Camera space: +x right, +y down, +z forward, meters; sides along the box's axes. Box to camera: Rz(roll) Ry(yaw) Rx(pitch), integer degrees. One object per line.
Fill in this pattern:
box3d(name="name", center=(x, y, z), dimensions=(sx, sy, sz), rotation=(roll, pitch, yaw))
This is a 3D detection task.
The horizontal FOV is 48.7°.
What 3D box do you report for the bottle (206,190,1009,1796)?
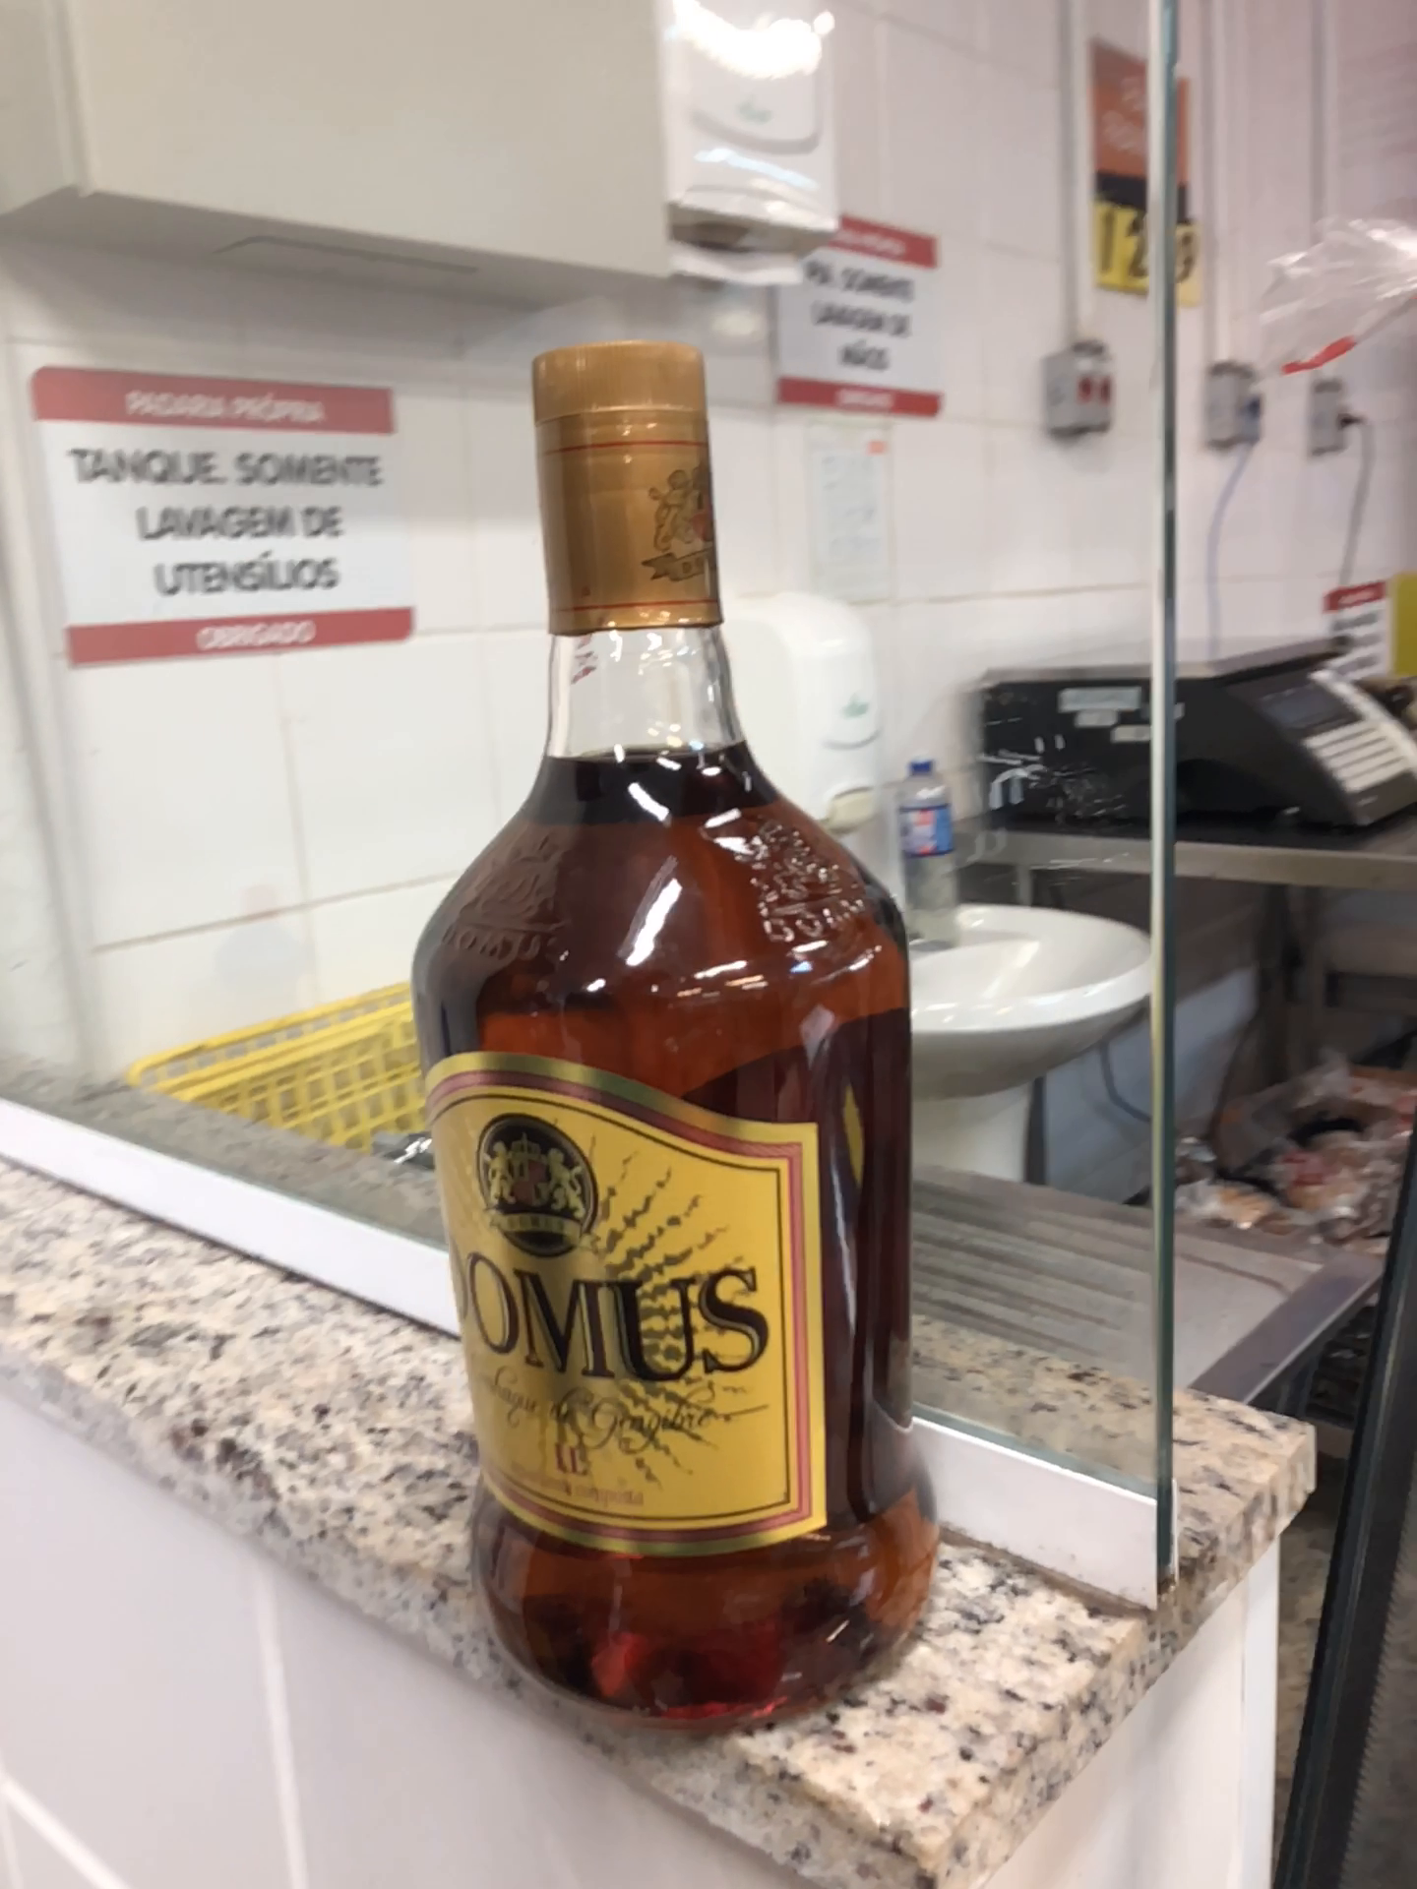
box3d(name="bottle", center=(-0.008, 0.007, 0.317), dimensions=(0.100, 0.259, 0.110), rotation=(1, 12, 26))
